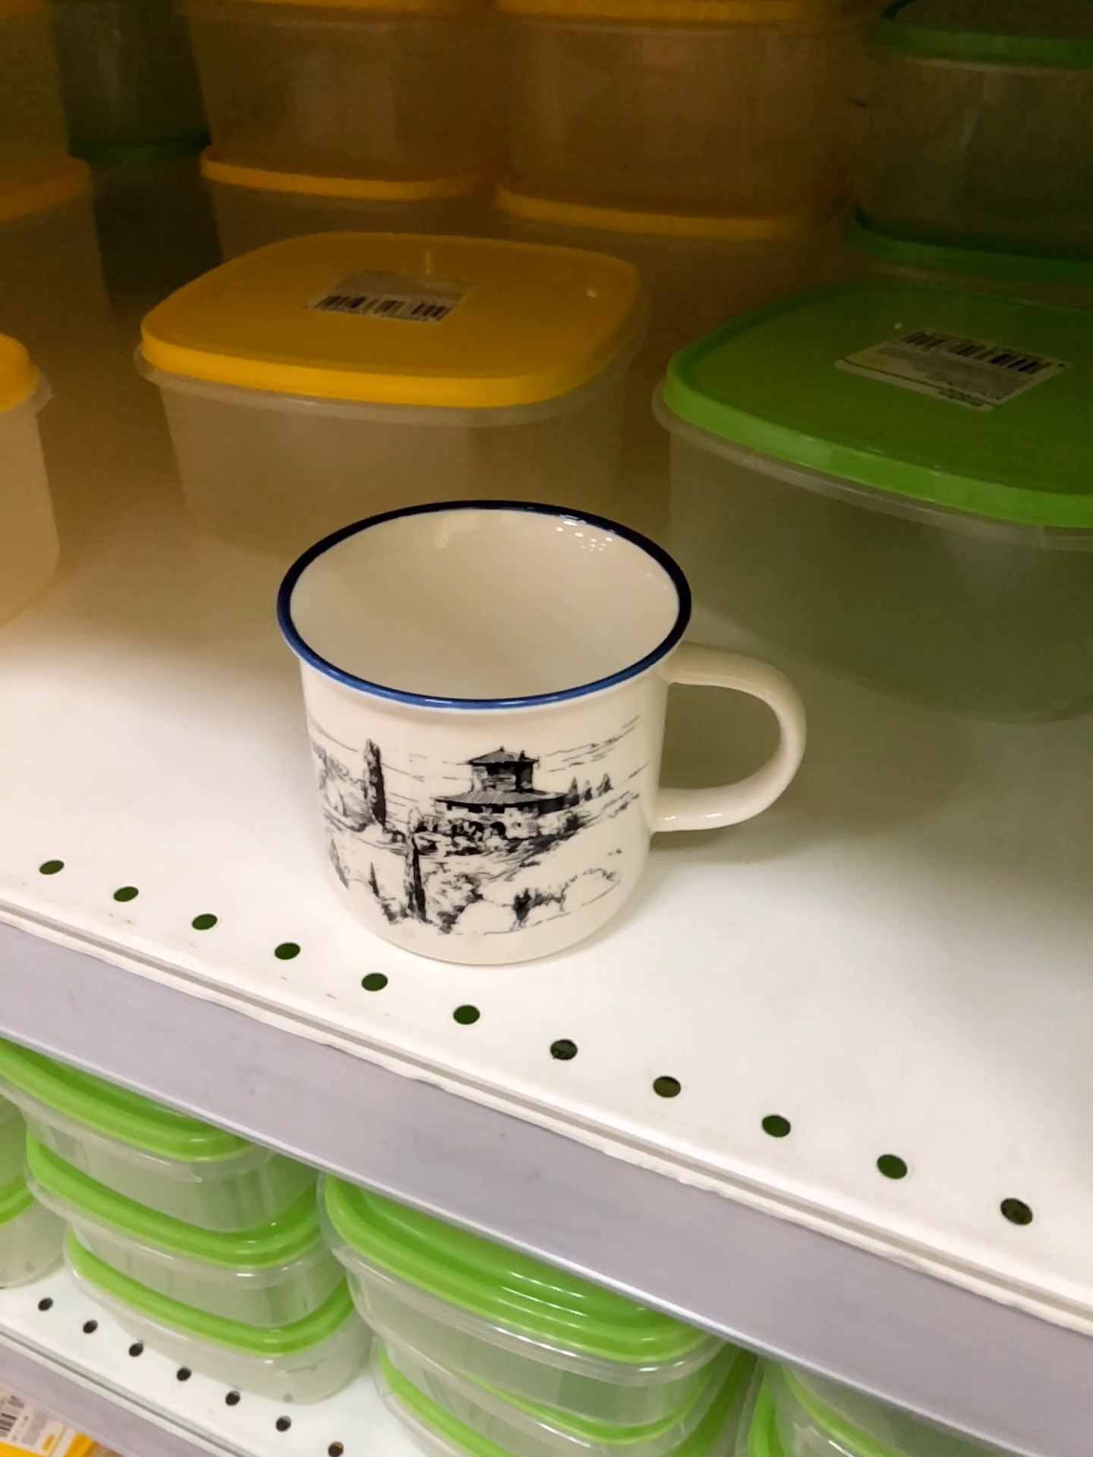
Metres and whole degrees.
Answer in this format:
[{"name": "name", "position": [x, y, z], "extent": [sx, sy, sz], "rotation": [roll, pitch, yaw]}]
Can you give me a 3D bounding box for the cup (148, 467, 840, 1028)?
[{"name": "cup", "position": [-0.004, -0.003, 0.290], "extent": [0.130, 0.068, 0.103], "rotation": [9, 38, 12]}]
